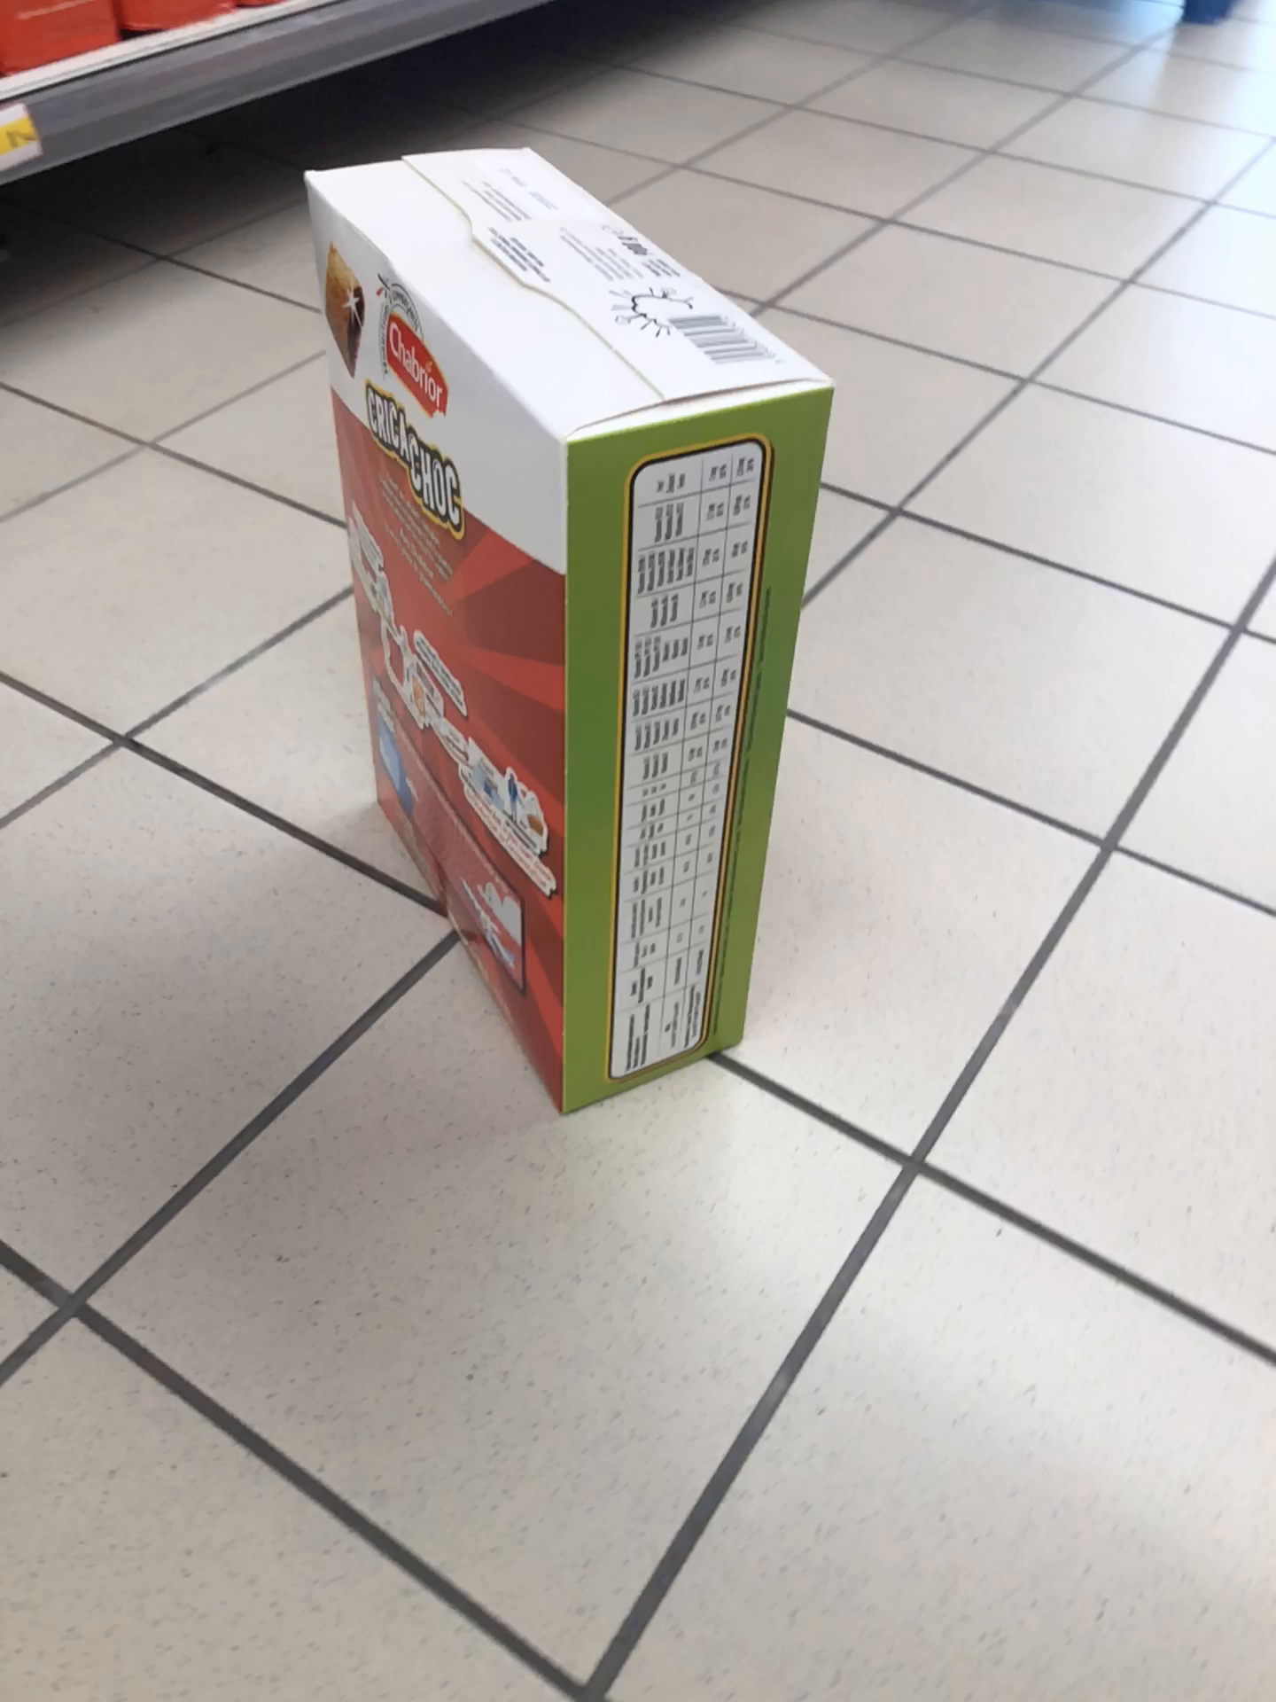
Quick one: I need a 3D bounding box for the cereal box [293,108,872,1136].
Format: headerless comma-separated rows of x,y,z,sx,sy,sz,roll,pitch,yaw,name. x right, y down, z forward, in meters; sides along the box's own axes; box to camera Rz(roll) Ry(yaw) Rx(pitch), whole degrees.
-0.029,-0.072,0.476,0.080,0.268,0.201,-18,47,-20,cereal box
